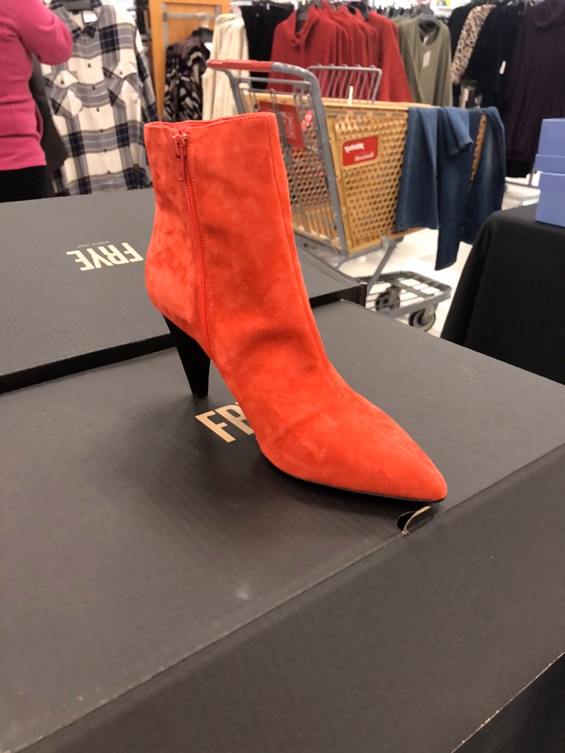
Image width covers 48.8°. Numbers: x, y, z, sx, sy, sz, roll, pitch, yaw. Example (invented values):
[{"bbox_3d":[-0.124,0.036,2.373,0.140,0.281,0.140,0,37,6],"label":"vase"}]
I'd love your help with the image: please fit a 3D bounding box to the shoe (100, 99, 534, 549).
[{"bbox_3d":[0.004,-0.058,0.404,0.101,0.211,0.261,-21,29,-36],"label":"shoe"}]
